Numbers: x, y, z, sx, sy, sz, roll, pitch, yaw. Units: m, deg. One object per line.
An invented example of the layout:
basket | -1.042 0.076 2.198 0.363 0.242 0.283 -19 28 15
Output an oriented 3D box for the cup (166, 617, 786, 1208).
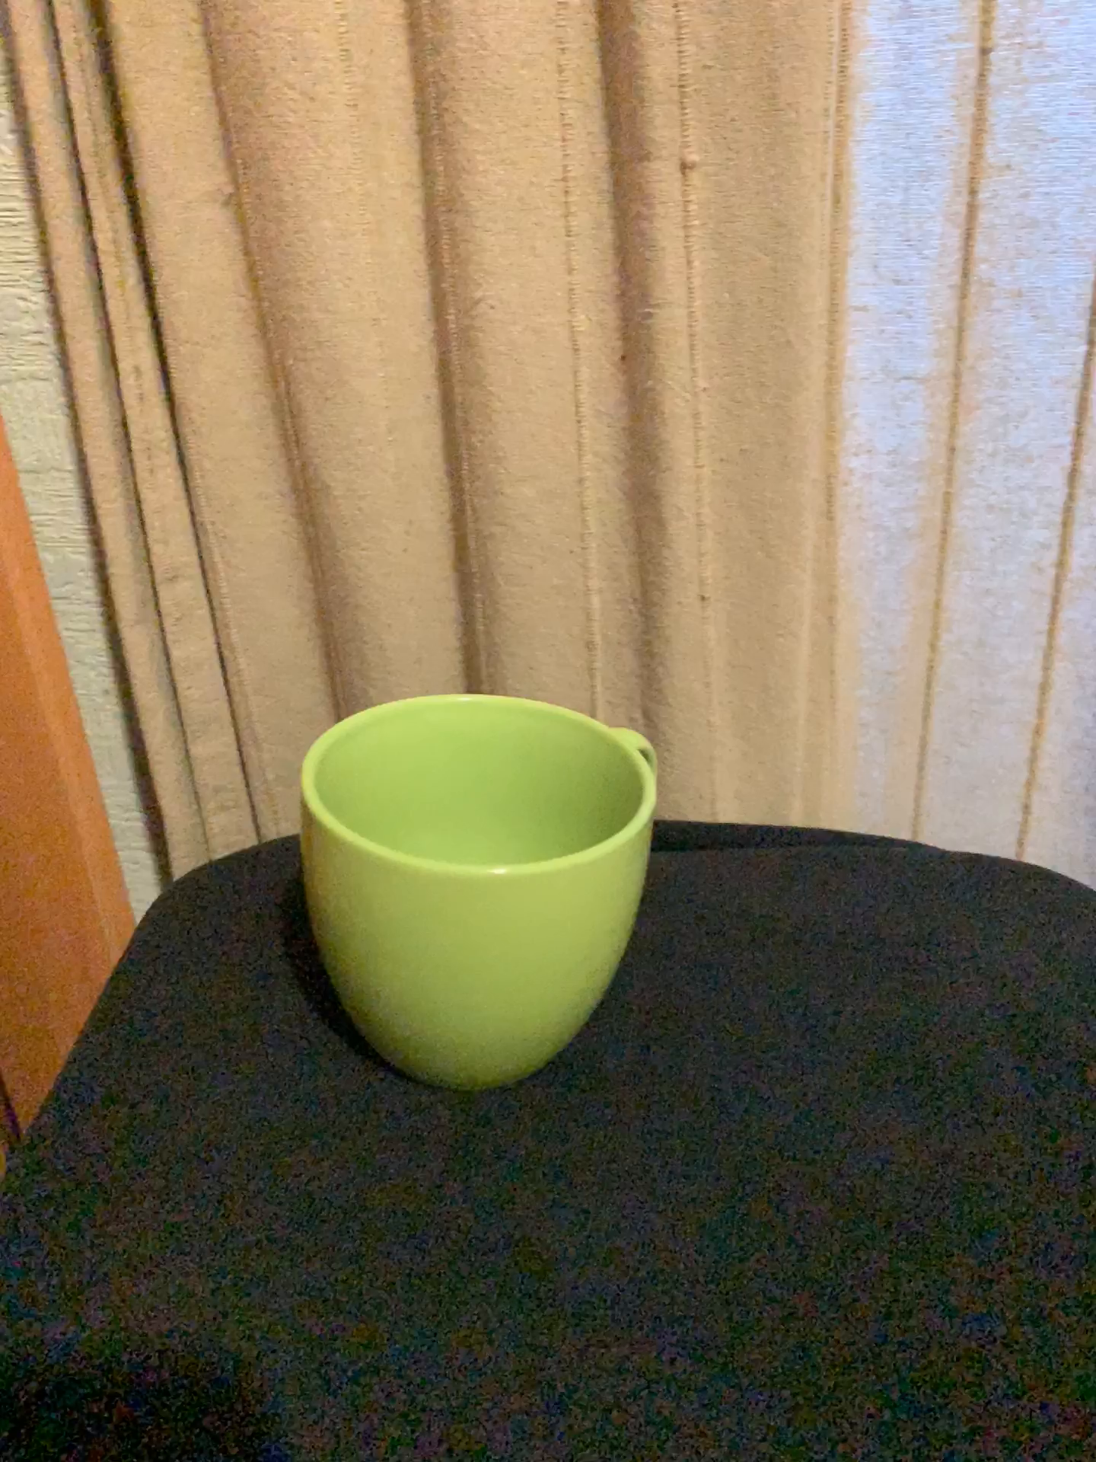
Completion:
cup | -0.014 0.034 0.292 0.090 0.069 0.125 24 36 33
